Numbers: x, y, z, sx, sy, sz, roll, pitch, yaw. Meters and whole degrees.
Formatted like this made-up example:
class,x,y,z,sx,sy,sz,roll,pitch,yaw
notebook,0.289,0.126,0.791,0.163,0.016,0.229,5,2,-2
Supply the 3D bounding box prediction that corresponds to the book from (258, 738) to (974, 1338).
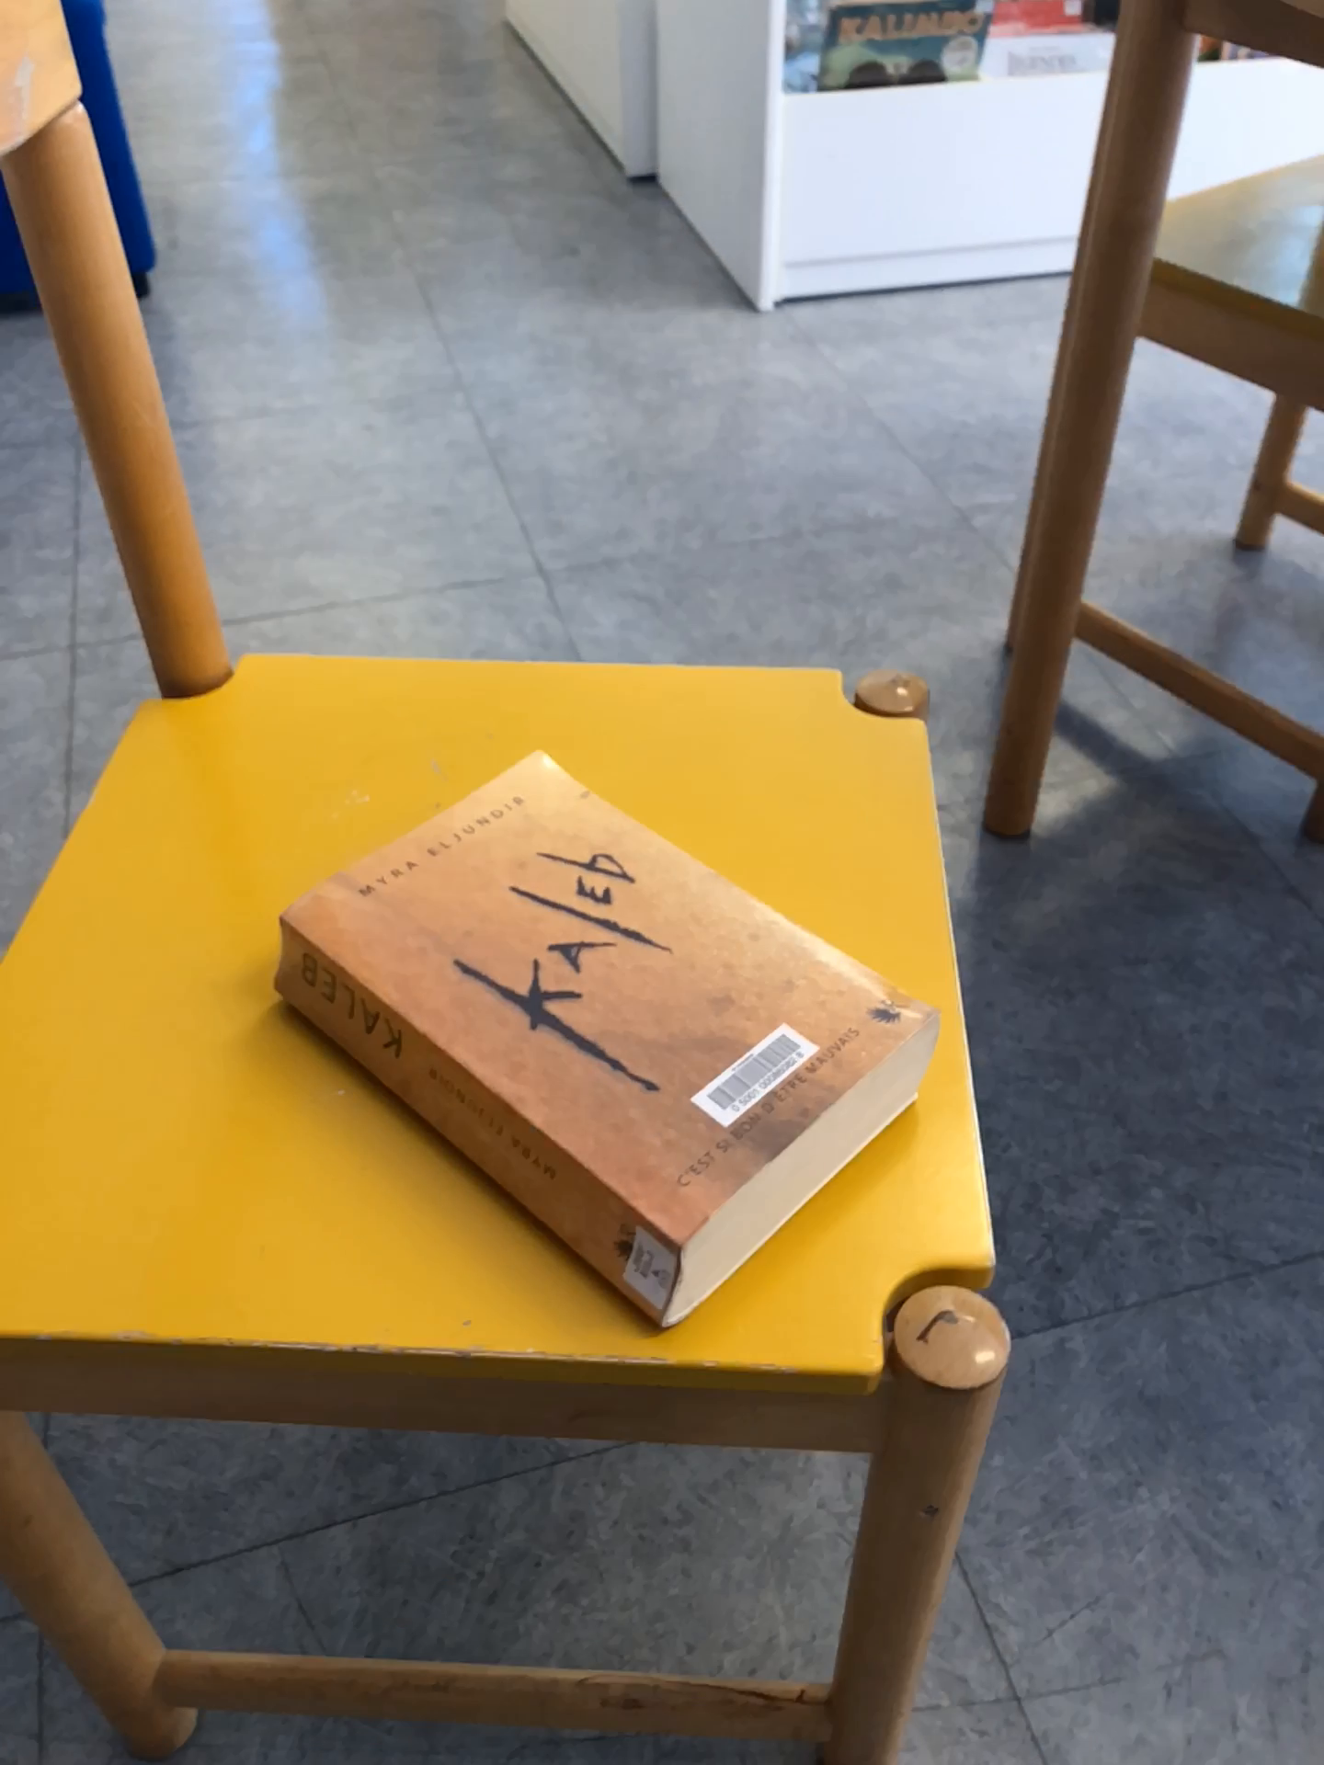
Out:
class,x,y,z,sx,sy,sz,roll,pitch,yaw
book,-0.021,0.041,0.551,0.224,0.043,0.150,33,52,31
